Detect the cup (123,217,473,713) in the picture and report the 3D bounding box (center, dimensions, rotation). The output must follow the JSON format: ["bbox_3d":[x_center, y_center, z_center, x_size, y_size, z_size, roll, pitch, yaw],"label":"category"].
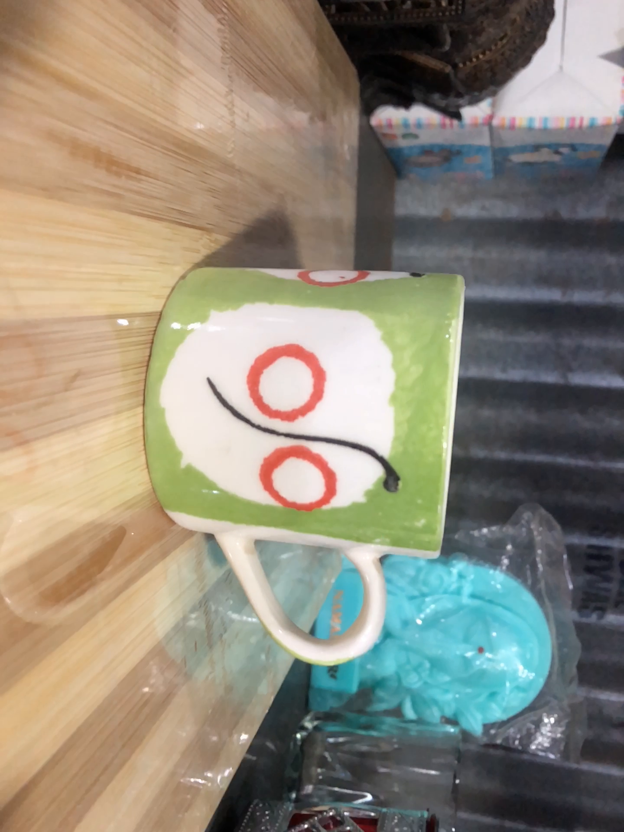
[{"bbox_3d":[0.002,0.008,0.183,0.070,0.070,0.100,-9,103,-78],"label":"cup"}]
